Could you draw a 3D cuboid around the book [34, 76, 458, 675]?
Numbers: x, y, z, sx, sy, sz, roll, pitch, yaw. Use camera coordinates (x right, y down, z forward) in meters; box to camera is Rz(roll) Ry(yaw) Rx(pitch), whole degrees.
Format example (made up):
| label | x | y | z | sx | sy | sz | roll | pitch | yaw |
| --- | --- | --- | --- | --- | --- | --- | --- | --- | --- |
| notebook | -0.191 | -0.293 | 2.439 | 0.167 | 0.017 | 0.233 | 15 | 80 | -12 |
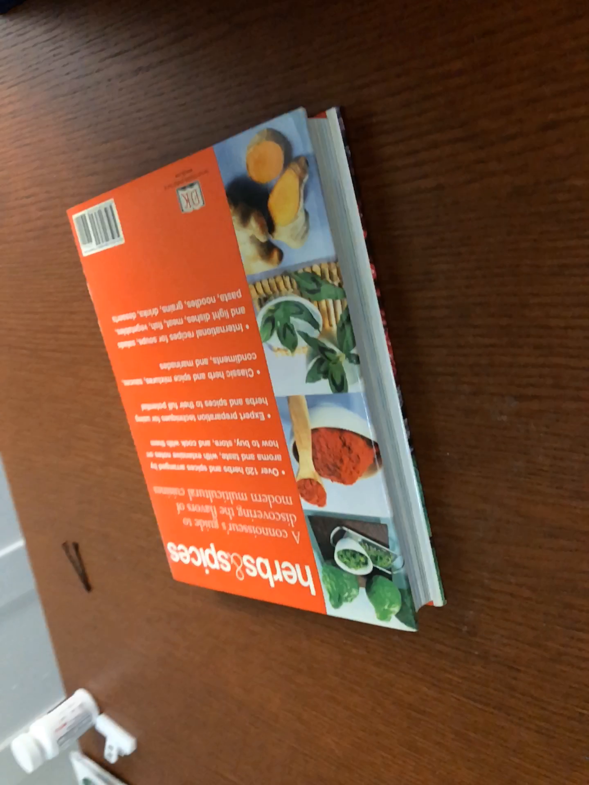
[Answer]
| label | x | y | z | sx | sy | sz | roll | pitch | yaw |
| --- | --- | --- | --- | --- | --- | --- | --- | --- | --- |
| book | -0.035 | 0.002 | 0.366 | 0.211 | 0.040 | 0.270 | -2 | 106 | 41 |
